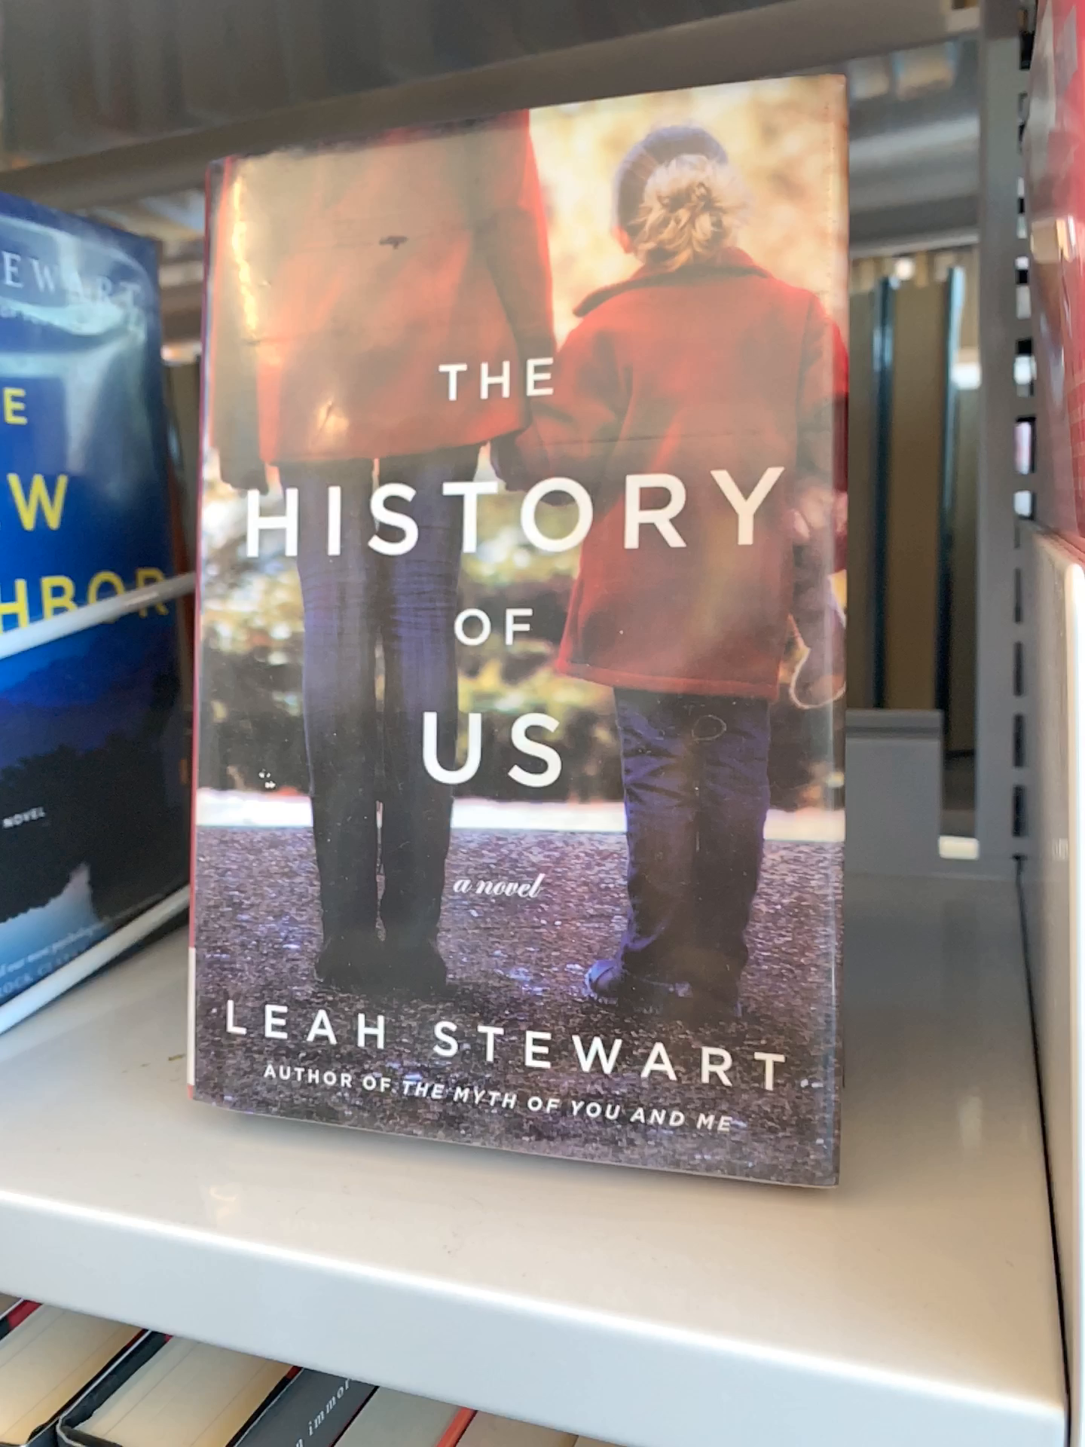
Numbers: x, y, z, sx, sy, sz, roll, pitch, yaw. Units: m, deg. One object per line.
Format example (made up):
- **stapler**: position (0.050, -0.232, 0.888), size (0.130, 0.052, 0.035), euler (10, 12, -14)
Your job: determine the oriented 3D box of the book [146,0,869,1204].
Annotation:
- **book**: position (-0.010, -0.022, 0.252), size (0.153, 0.220, 0.040), euler (-1, 0, 20)
